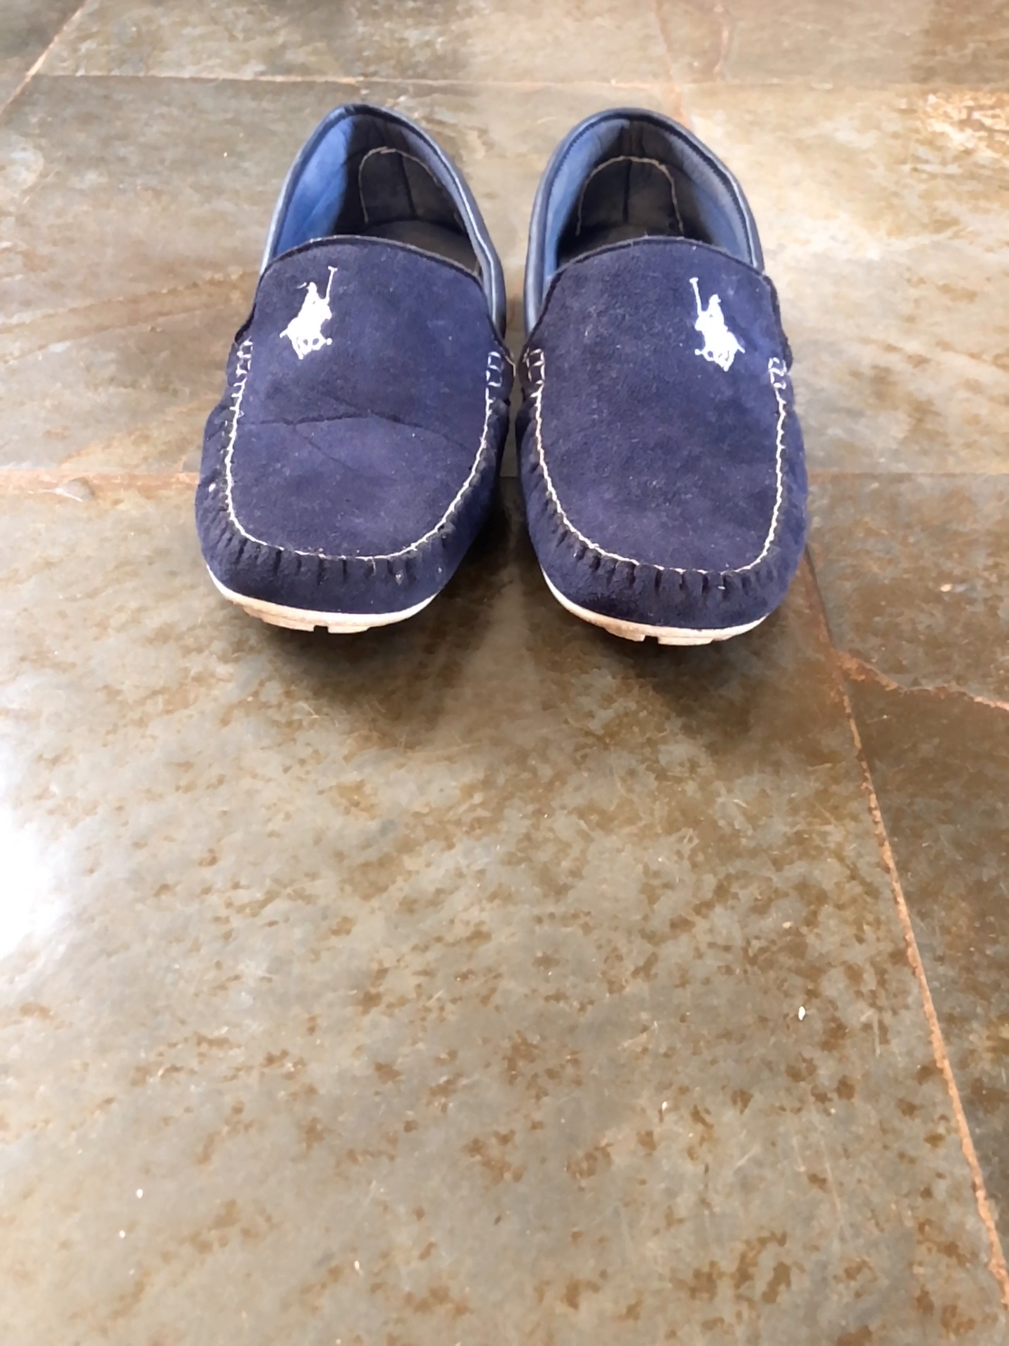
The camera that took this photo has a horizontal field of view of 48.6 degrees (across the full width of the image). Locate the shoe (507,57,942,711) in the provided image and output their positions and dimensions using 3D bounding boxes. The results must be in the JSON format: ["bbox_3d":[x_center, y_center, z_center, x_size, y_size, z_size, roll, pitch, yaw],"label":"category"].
[{"bbox_3d":[0.054,-0.116,0.383,0.100,0.089,0.262,1,46,0],"label":"shoe"}]

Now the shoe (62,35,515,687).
[{"bbox_3d":[-0.049,-0.123,0.379,0.100,0.089,0.262,1,46,0],"label":"shoe"}]
